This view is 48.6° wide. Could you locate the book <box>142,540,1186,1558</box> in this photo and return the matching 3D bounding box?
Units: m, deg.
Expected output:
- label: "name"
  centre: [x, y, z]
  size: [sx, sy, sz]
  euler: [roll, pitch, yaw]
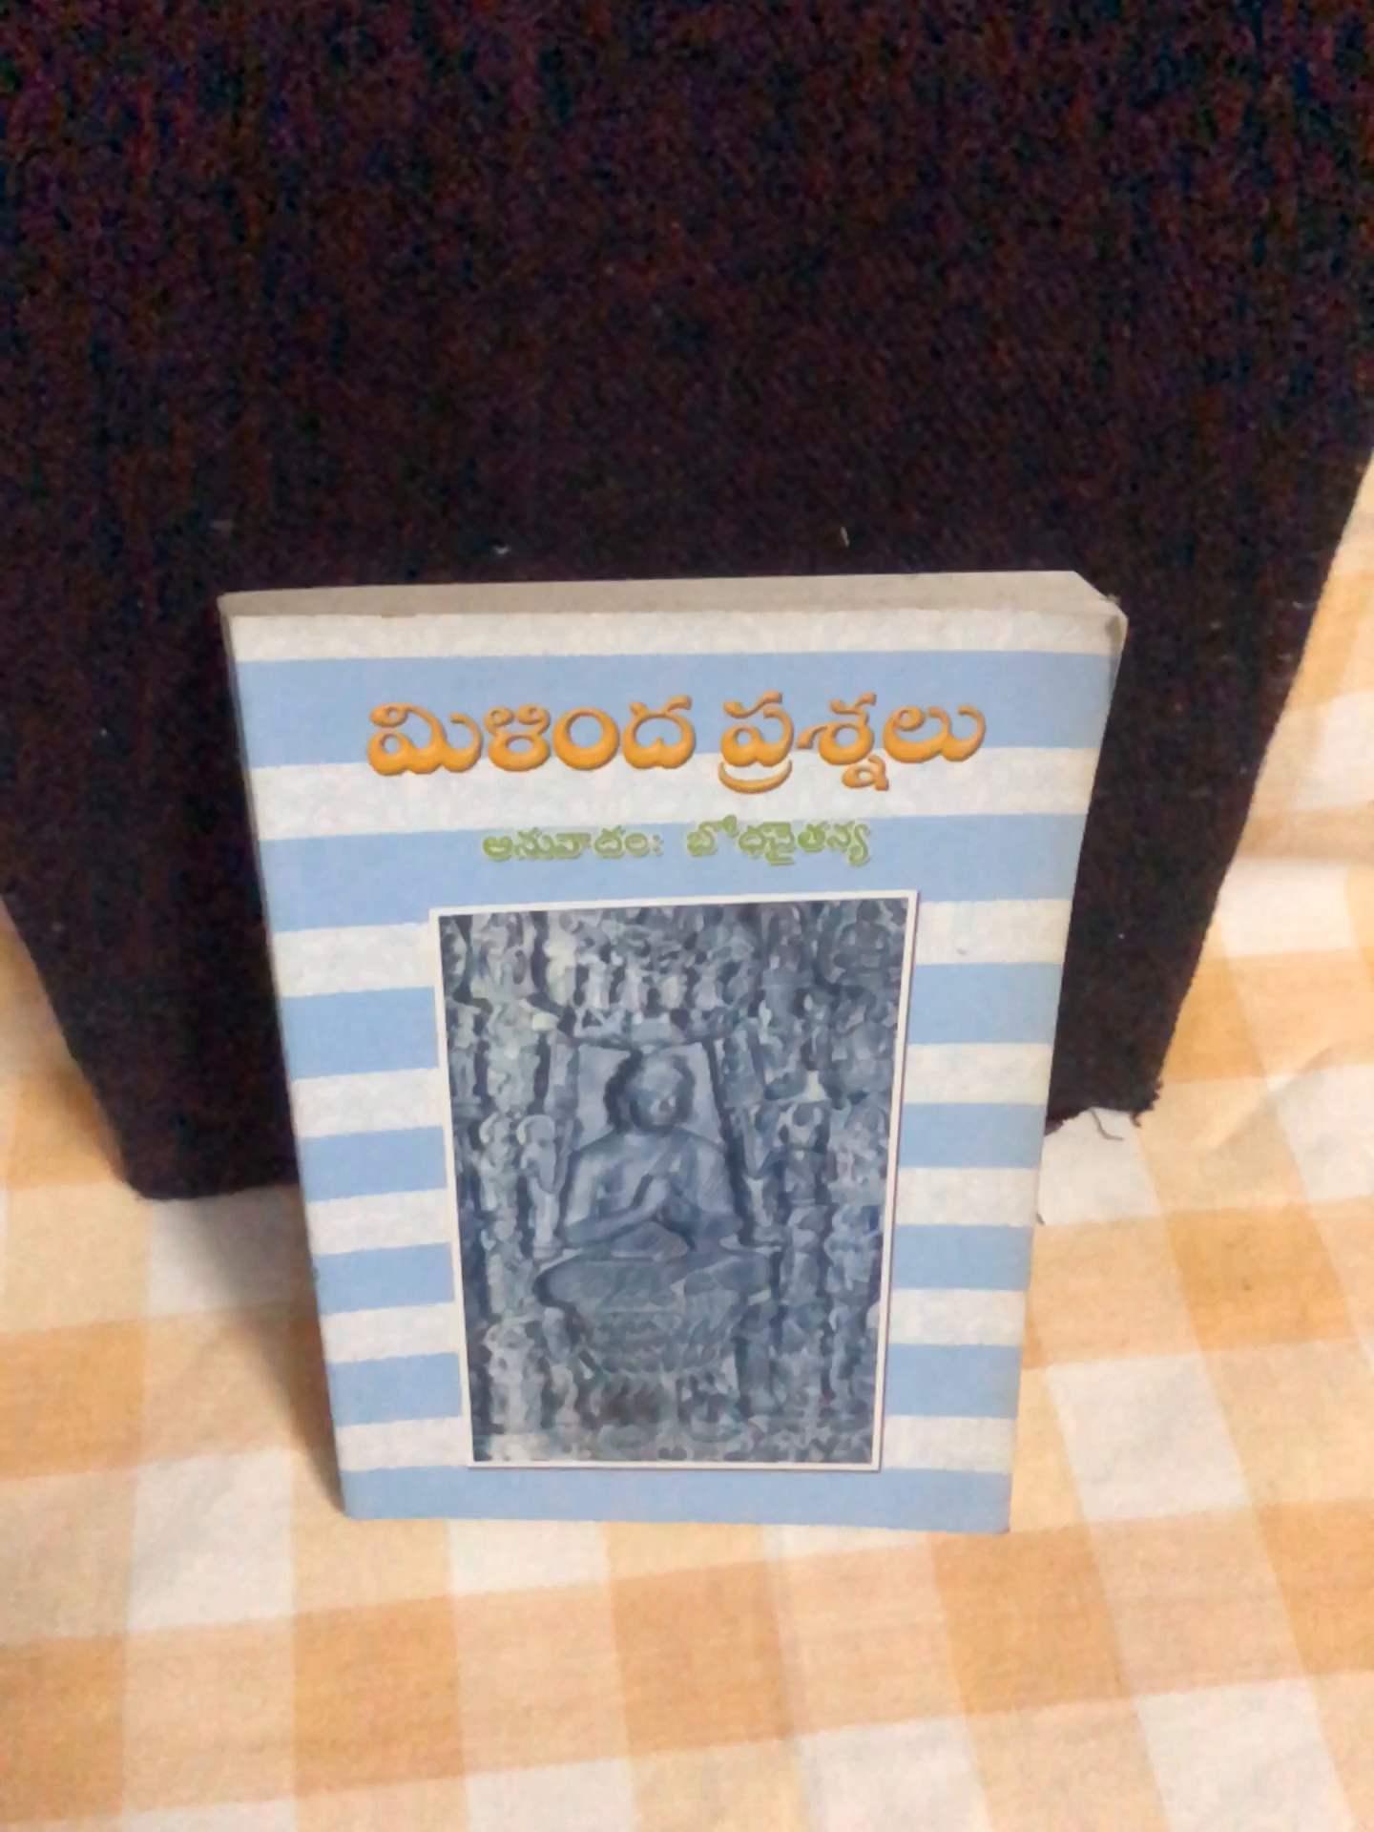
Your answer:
- label: "book"
  centre: [-0.005, 0.037, 0.294]
  size: [0.160, 0.210, 0.030]
  euler: [1, 27, -1]
